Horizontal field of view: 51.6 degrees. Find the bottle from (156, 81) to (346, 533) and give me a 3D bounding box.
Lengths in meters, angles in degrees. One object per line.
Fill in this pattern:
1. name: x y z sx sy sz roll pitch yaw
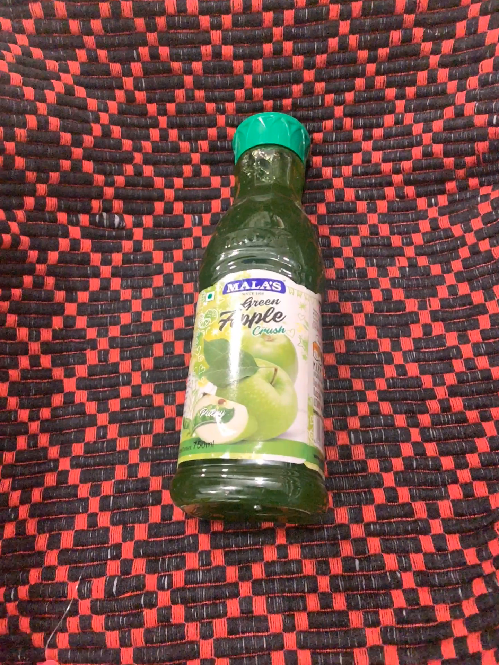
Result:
1. bottle: 0.010 -0.030 0.284 0.070 0.070 0.251 2 59 4
